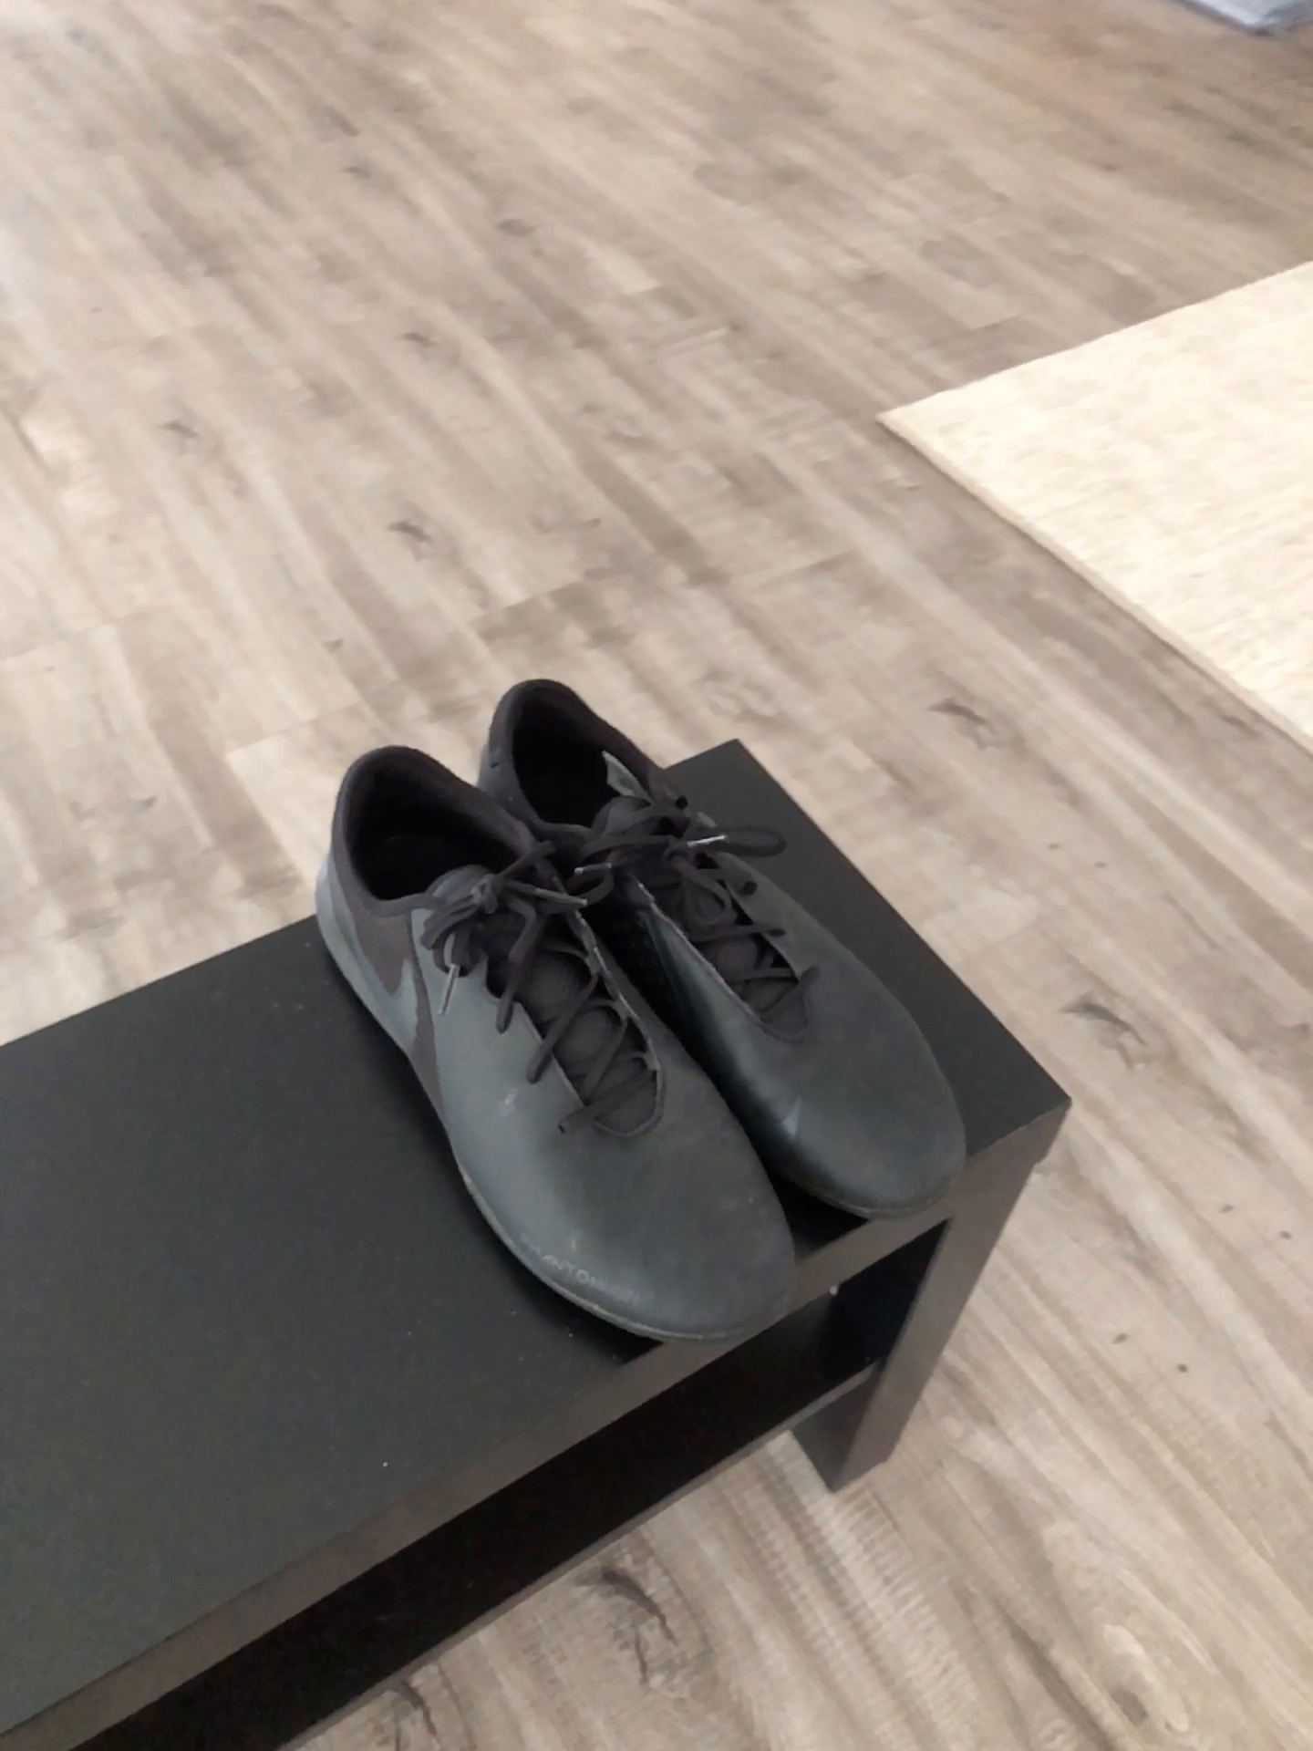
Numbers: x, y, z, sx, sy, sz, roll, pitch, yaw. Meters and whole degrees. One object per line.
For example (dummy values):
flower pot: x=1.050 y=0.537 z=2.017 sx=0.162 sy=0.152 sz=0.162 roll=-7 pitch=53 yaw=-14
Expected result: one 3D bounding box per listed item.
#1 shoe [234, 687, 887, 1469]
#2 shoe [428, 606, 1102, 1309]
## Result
shoe: x=-0.051 y=0.066 z=0.582 sx=0.100 sy=0.110 sz=0.295 roll=-27 pitch=55 yaw=-24
shoe: x=0.029 y=0.022 z=0.620 sx=0.100 sy=0.110 sz=0.294 roll=-30 pitch=56 yaw=-26
